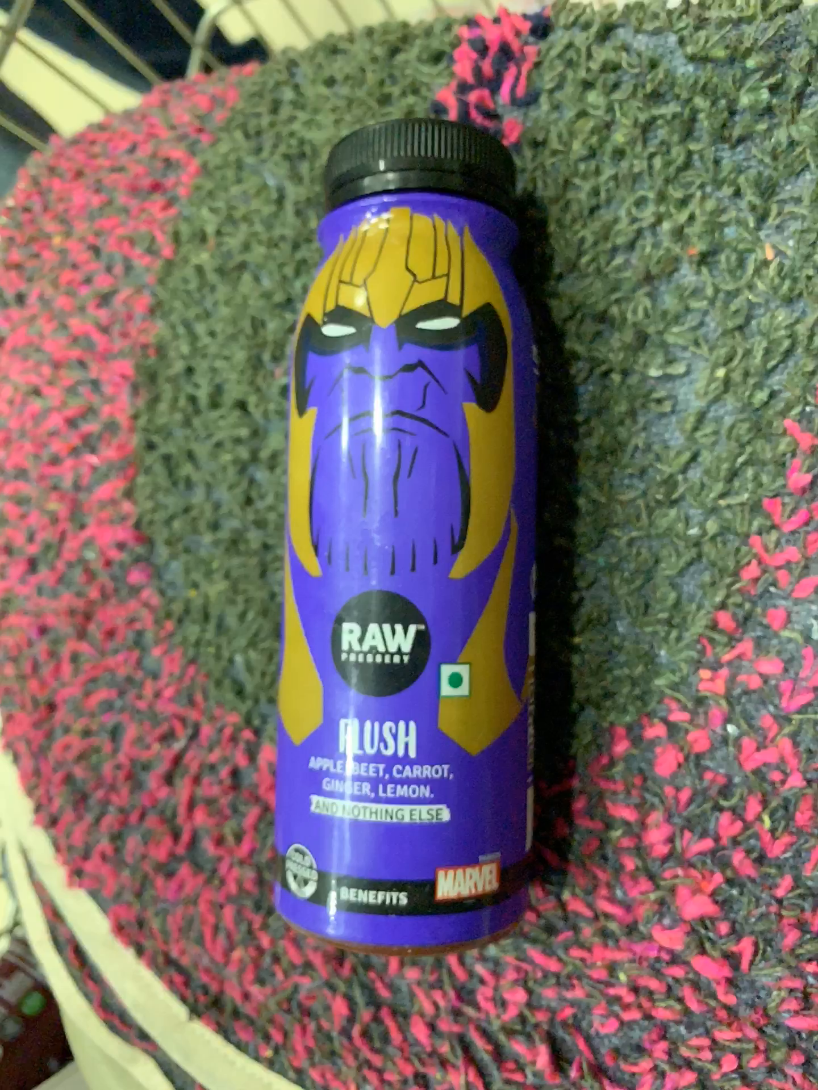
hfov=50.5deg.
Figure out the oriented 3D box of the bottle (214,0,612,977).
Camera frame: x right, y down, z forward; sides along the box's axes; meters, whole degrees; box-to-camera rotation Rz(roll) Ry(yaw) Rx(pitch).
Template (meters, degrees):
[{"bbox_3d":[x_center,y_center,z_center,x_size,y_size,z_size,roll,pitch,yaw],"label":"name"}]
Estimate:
[{"bbox_3d":[0.005,-0.013,0.180,0.060,0.050,0.170,2,85,20],"label":"bottle"}]
